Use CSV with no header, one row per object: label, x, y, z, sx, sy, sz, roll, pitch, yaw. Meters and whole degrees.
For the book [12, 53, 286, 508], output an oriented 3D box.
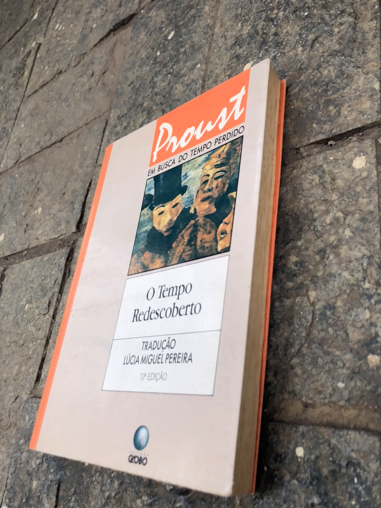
book,-0.020,0.007,0.220,0.134,0.023,0.199,-13,58,40
